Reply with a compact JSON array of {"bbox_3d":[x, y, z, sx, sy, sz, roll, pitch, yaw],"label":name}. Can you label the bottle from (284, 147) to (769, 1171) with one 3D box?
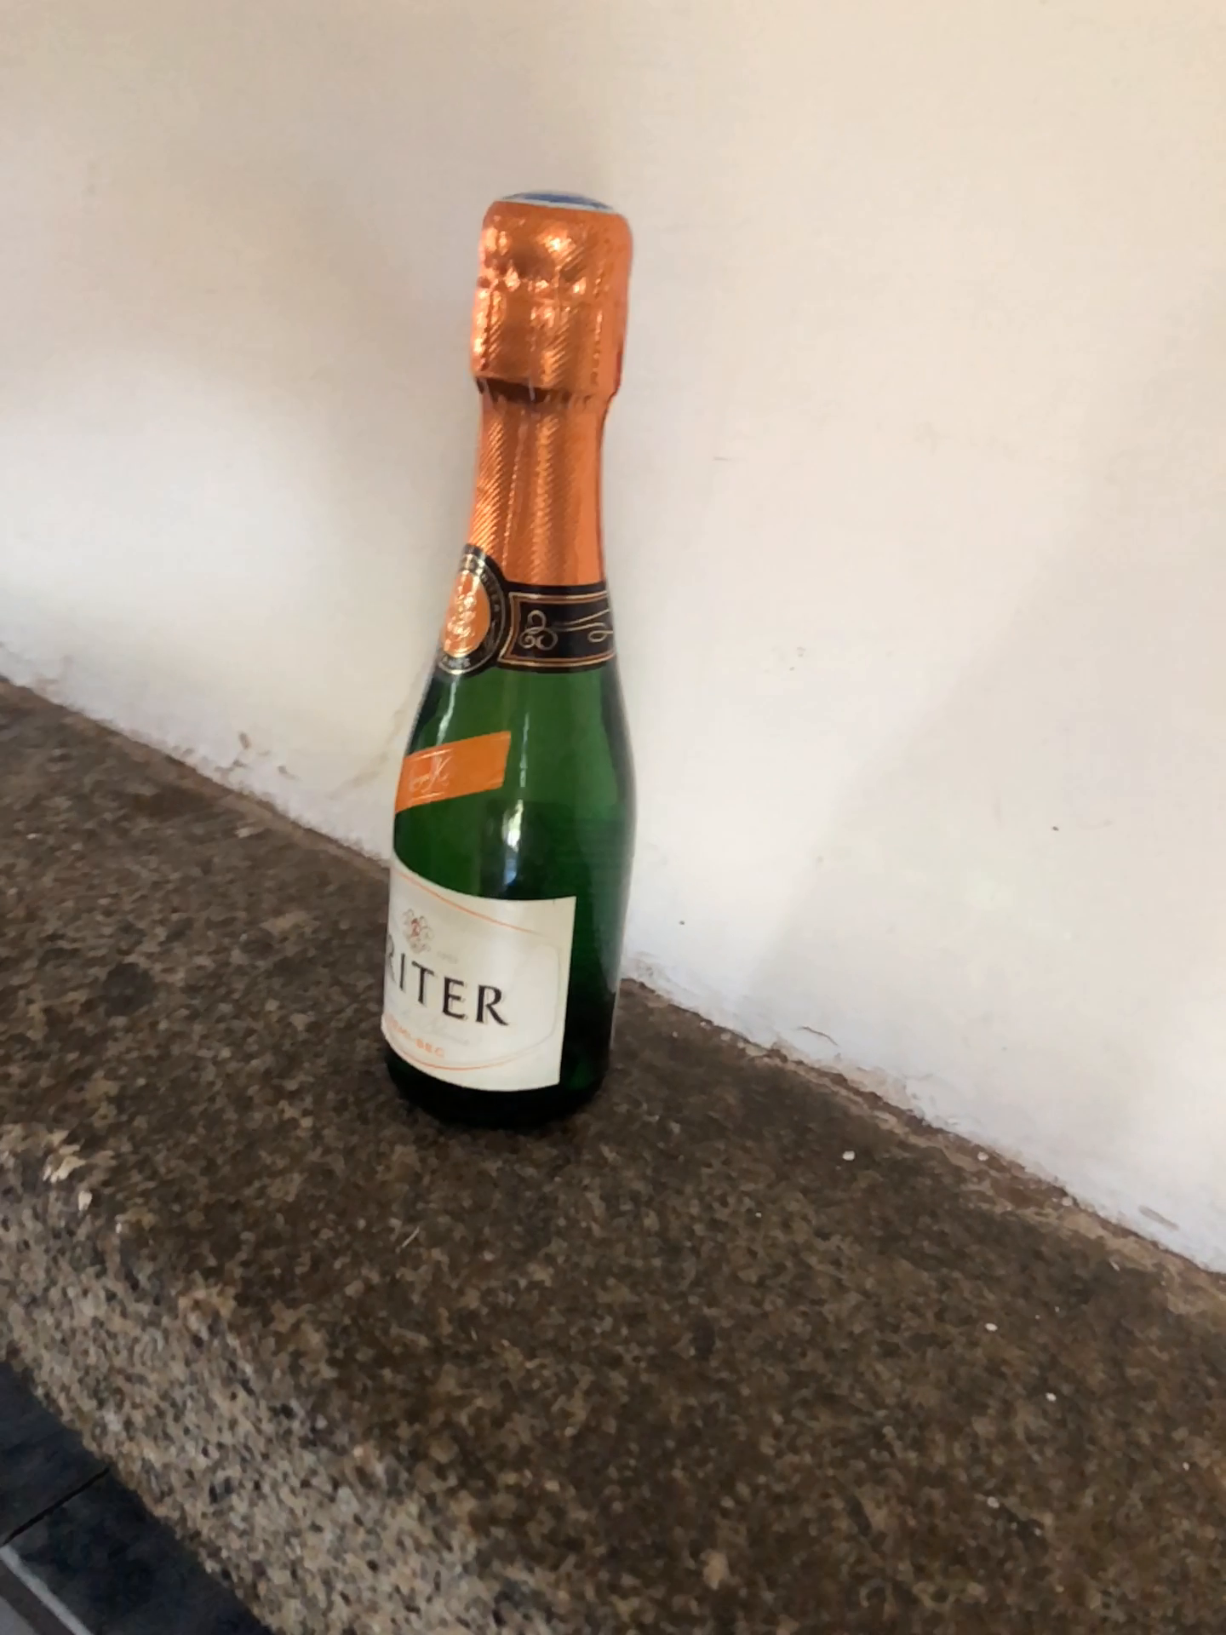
[{"bbox_3d":[-0.024,-0.033,0.300,0.060,0.199,0.070,23,27,36],"label":"bottle"}]
